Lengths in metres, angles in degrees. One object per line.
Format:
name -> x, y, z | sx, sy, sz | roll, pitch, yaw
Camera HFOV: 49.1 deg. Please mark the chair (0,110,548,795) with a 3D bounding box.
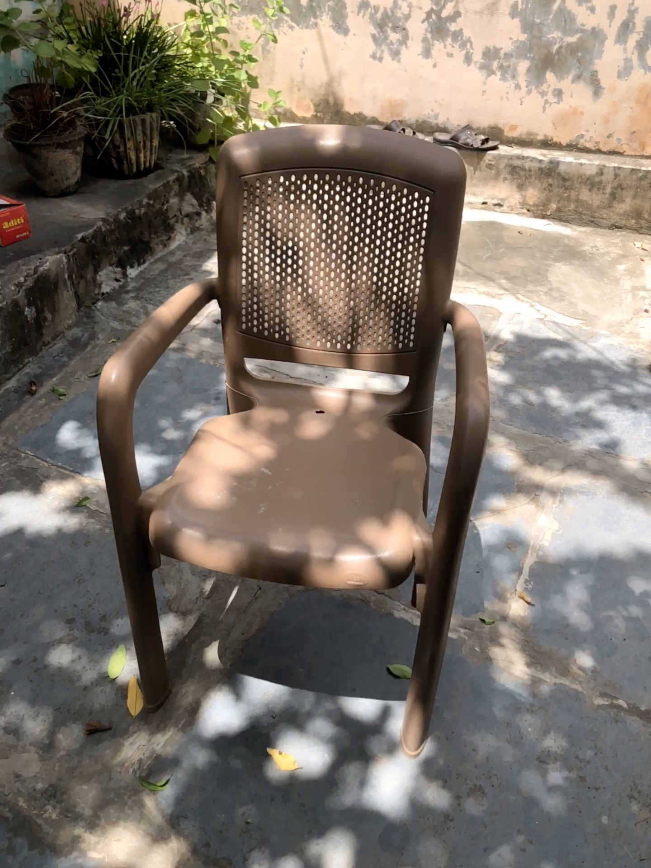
chair -> -0.030, 0.005, 1.199 | 0.630, 0.826, 0.684 | 8, 40, 10
